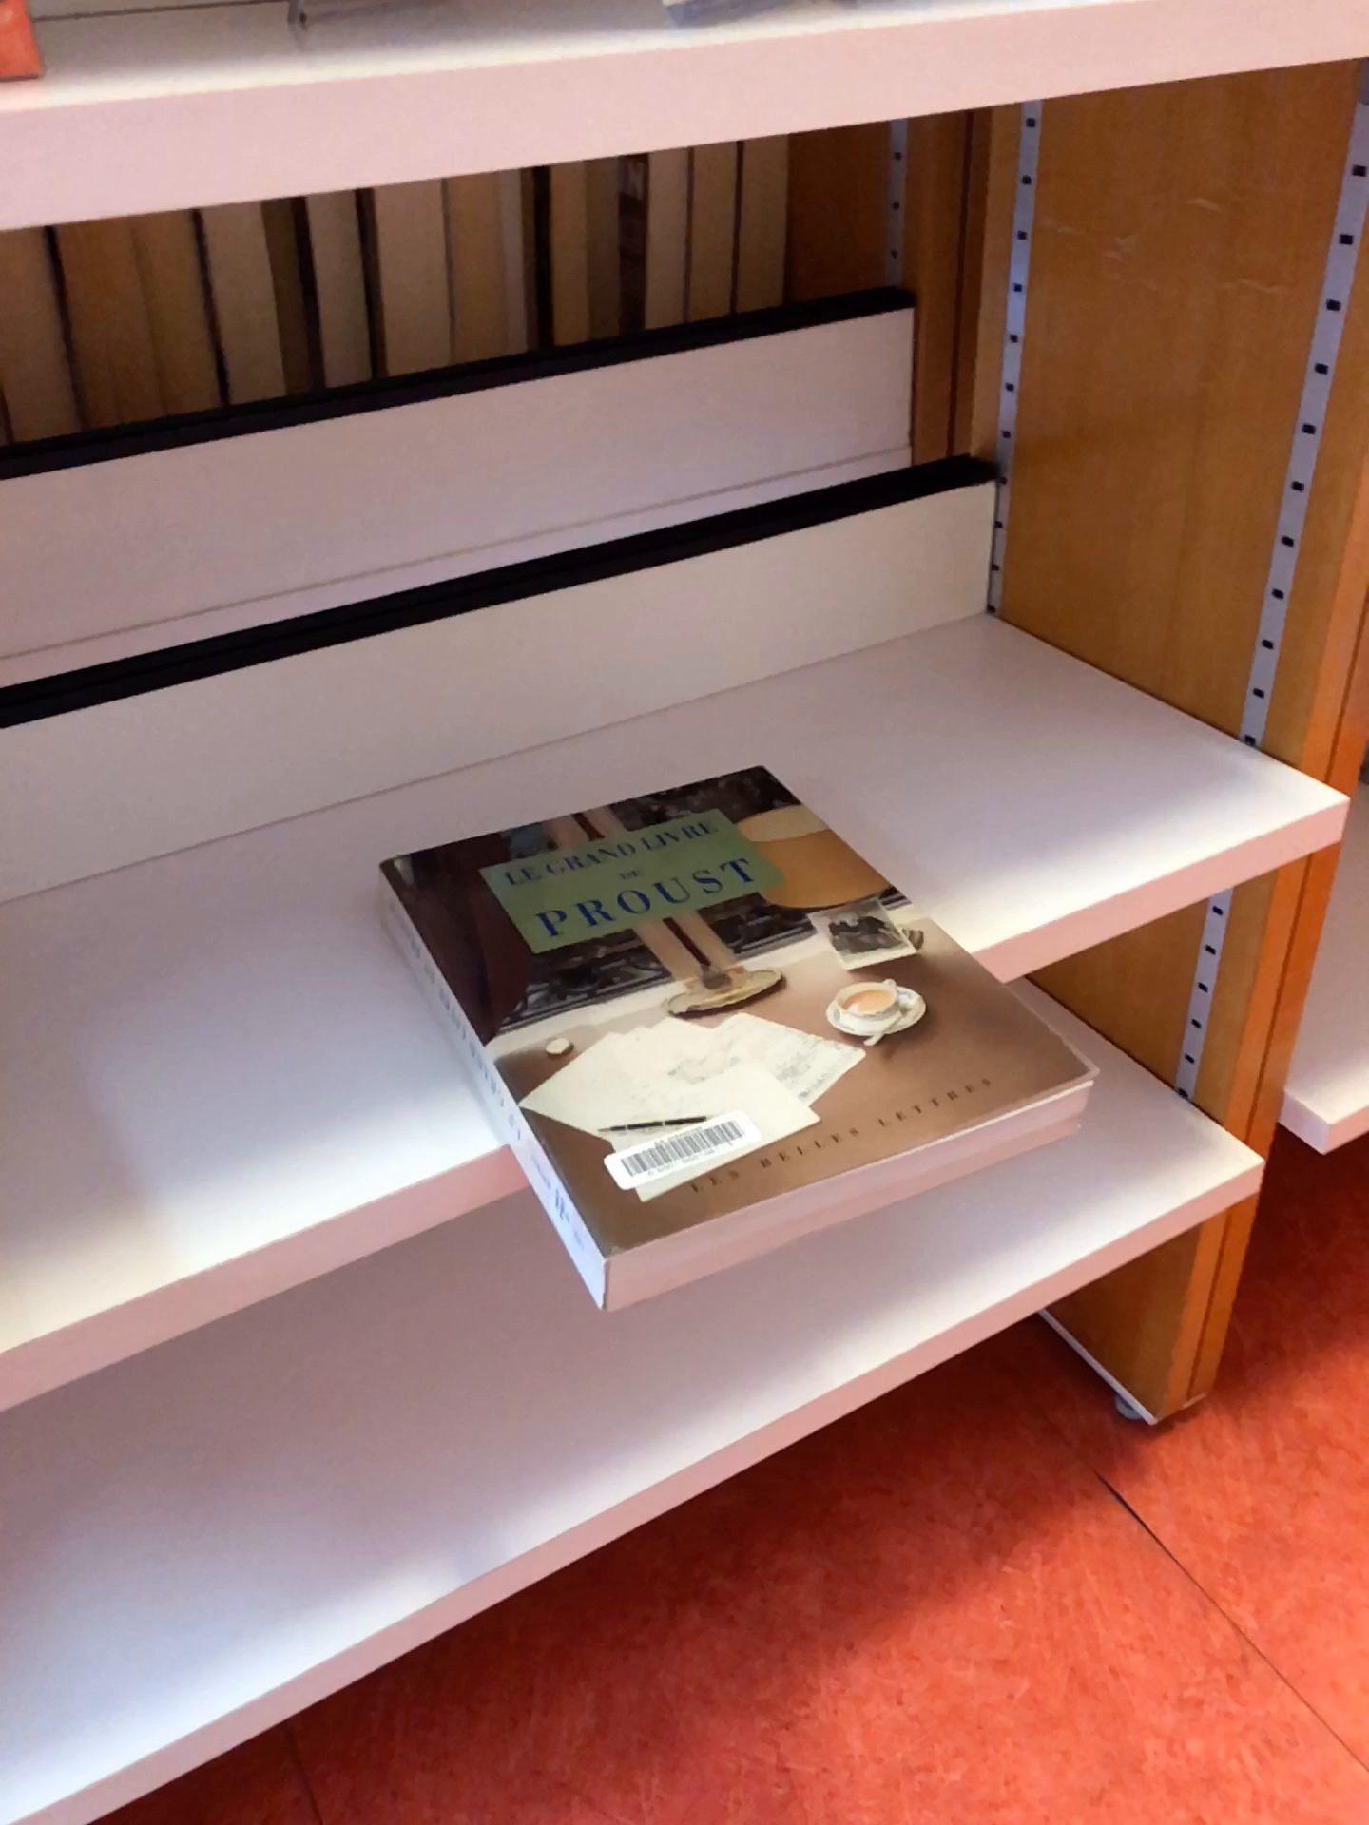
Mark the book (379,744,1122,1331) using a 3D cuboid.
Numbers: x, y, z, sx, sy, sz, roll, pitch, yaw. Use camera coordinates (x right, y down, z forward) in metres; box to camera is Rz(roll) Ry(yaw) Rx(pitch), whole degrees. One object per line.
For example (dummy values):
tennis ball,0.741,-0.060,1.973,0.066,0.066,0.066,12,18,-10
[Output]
book,0.009,0.024,0.559,0.180,0.030,0.246,-16,38,-19
